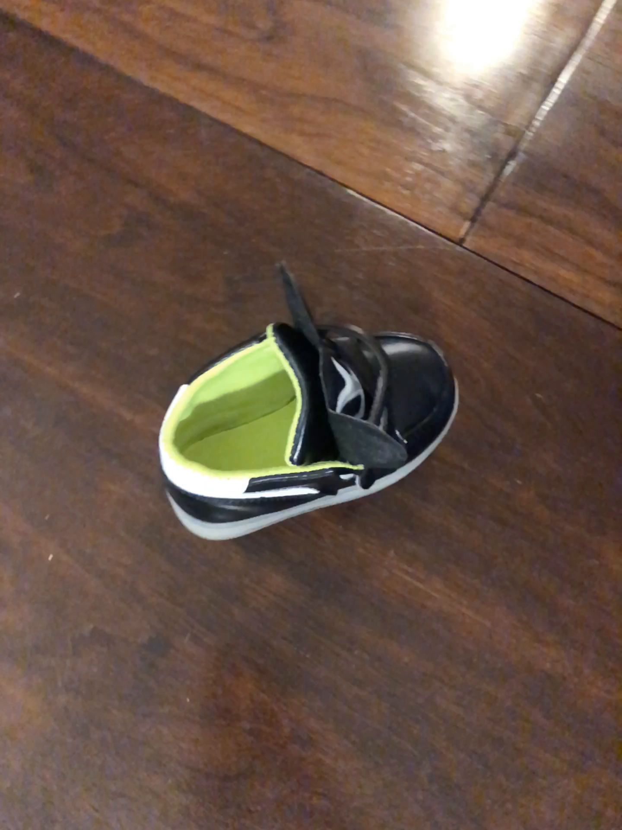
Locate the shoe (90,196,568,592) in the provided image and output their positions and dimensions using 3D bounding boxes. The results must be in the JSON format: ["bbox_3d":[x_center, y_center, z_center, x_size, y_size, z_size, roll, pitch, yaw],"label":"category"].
[{"bbox_3d":[0.005,-0.003,0.299,0.150,0.100,0.090,-24,73,-11],"label":"shoe"}]
